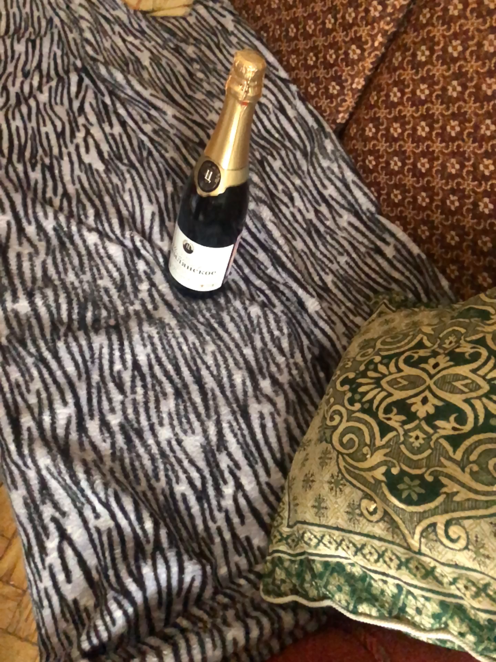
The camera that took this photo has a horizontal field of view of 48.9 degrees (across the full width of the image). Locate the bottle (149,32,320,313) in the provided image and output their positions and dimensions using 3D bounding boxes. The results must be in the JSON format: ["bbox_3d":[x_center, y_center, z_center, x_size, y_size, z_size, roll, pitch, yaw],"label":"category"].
[{"bbox_3d":[-0.030,-0.162,0.615,0.100,0.279,0.100,8,51,-10],"label":"bottle"}]
